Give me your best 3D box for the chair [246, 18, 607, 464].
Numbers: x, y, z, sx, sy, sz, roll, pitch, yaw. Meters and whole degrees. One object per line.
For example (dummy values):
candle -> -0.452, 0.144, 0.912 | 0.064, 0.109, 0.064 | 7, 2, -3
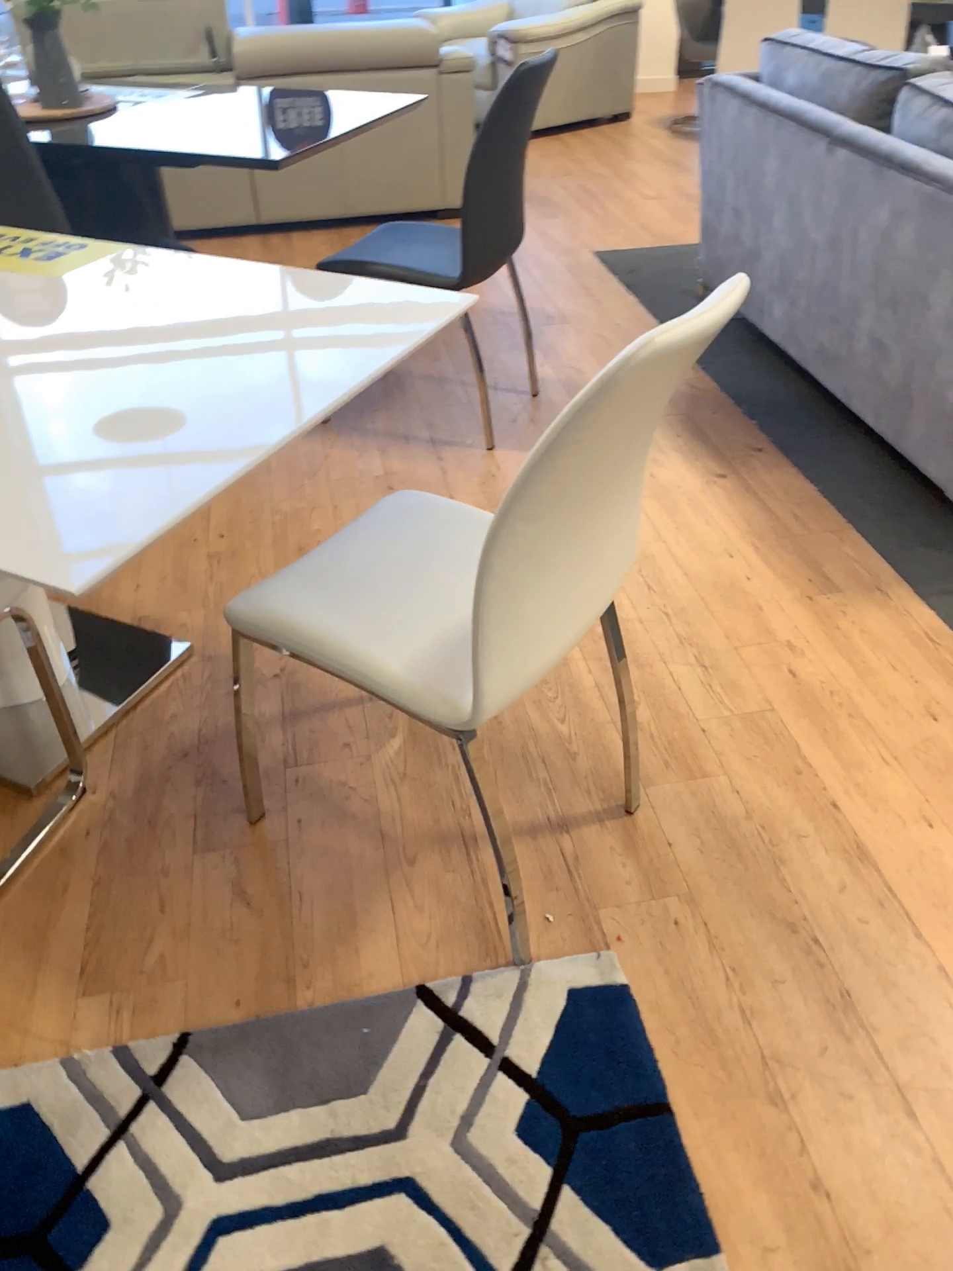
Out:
chair -> -0.095, -1.066, 2.602 | 0.711, 0.951, 0.524 | 14, 40, 19

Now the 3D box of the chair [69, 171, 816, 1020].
chair -> -0.030, -0.077, 1.341 | 0.672, 0.881, 0.493 | 23, 44, 28
